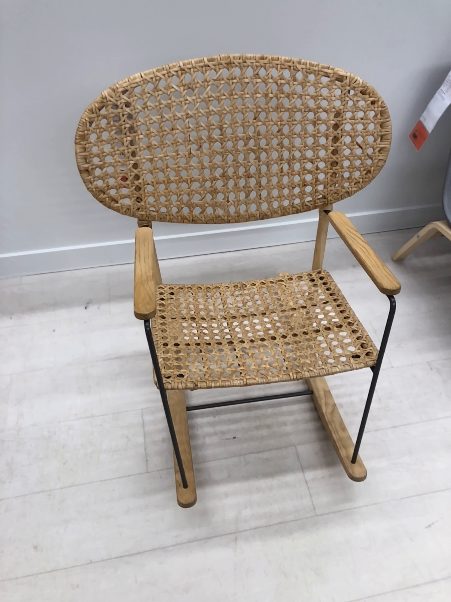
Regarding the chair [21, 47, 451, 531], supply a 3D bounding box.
[{"bbox_3d":[0.079,-0.047,1.264,0.830,0.787,0.853,-5,49,-6],"label":"chair"}]
